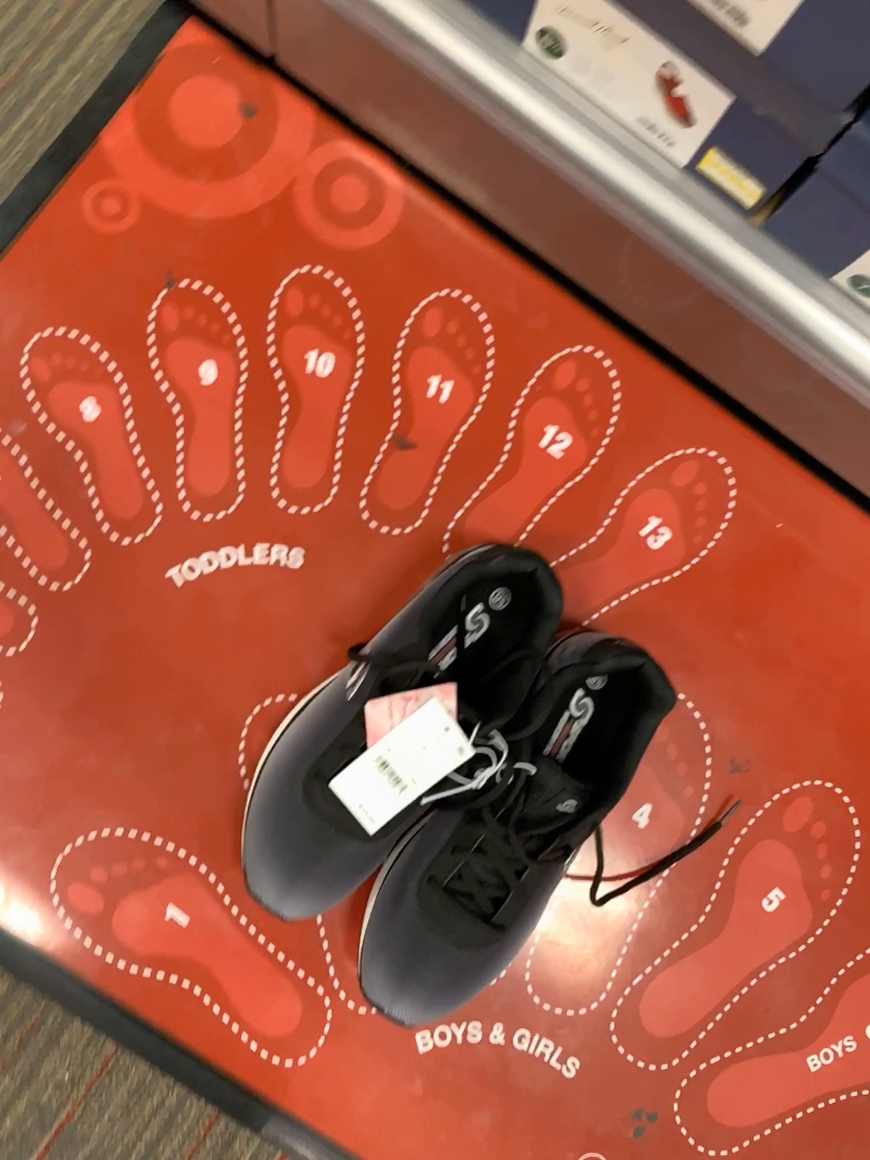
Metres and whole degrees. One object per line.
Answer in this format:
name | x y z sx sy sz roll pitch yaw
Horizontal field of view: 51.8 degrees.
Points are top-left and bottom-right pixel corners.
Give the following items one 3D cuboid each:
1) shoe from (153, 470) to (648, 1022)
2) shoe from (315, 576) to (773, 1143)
shoe | -0.017 0.080 0.486 0.100 0.100 0.260 40 82 -2
shoe | 0.053 0.137 0.488 0.100 0.100 0.260 36 82 -3
